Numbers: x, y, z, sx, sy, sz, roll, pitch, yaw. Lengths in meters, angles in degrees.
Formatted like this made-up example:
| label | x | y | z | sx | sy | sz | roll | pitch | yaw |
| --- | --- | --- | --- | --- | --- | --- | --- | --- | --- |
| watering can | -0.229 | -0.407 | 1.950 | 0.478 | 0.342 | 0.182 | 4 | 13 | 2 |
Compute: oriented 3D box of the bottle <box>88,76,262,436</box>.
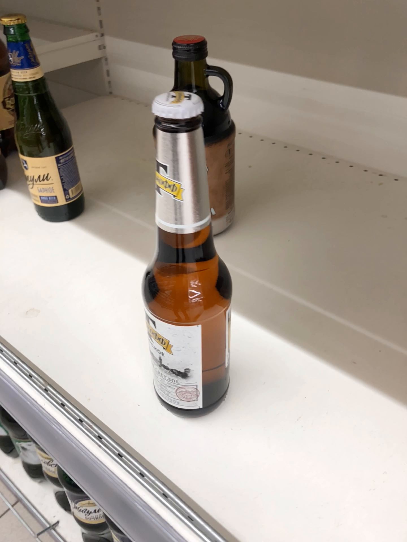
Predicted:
| label | x | y | z | sx | sy | sz | roll | pitch | yaw |
| --- | --- | --- | --- | --- | --- | --- | --- | --- | --- |
| bottle | -0.017 | 0.004 | 0.327 | 0.070 | 0.249 | 0.080 | -18 | 42 | -20 |
